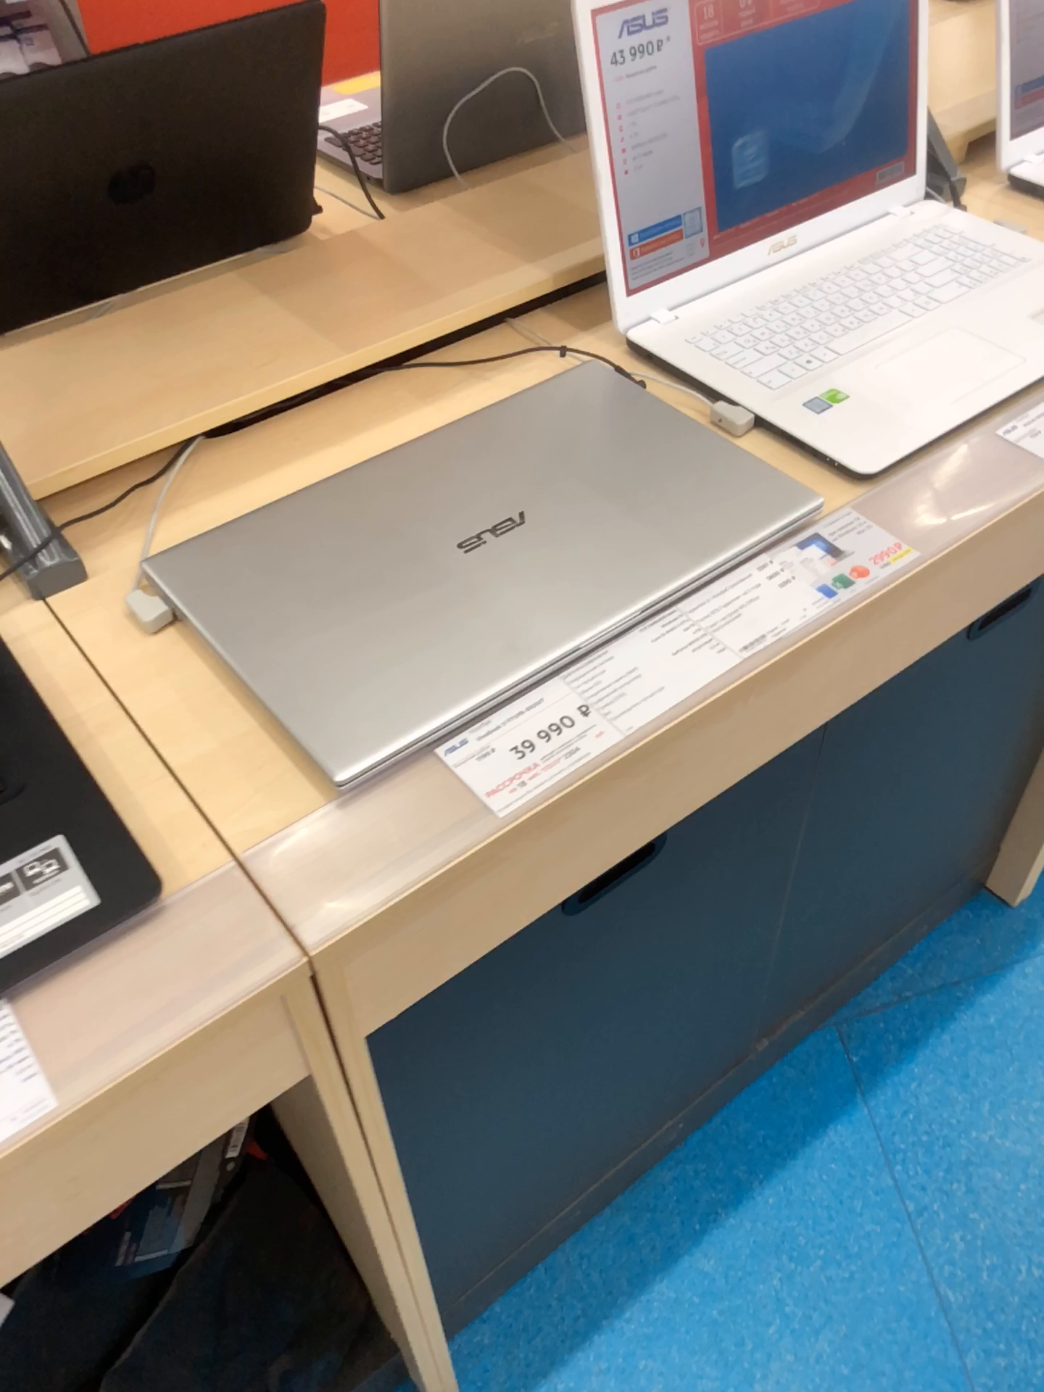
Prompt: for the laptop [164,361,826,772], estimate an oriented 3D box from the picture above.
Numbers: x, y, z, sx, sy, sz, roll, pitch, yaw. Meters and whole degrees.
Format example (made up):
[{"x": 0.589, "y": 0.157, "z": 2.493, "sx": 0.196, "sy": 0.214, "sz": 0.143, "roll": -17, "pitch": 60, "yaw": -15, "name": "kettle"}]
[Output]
[{"x": -0.014, "y": -0.115, "z": 0.785, "sx": 0.392, "sy": 0.006, "sz": 0.233, "roll": -30, "pitch": 53, "yaw": -24, "name": "laptop"}]
